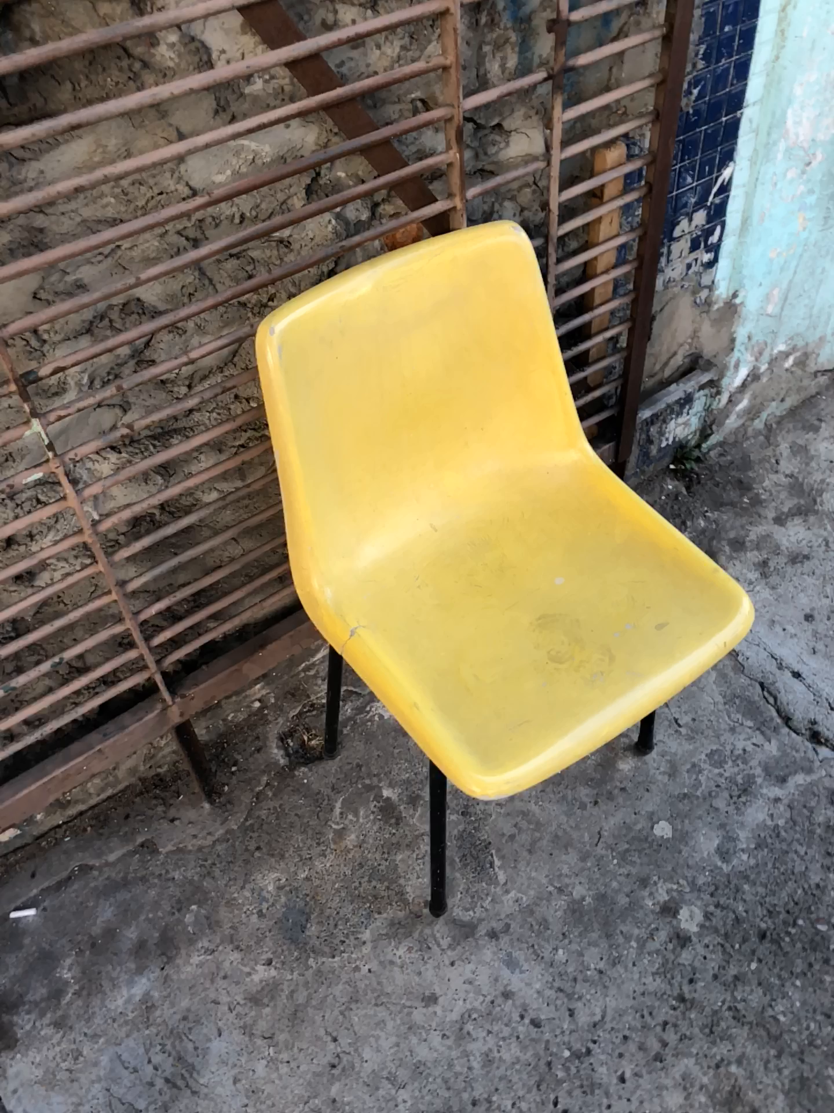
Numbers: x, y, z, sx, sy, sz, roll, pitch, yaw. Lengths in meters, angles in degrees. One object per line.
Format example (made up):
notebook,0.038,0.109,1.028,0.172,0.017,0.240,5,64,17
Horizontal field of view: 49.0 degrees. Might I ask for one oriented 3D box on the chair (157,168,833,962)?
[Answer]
chair,0.094,0.028,1.127,0.481,0.715,0.472,-29,51,-20
